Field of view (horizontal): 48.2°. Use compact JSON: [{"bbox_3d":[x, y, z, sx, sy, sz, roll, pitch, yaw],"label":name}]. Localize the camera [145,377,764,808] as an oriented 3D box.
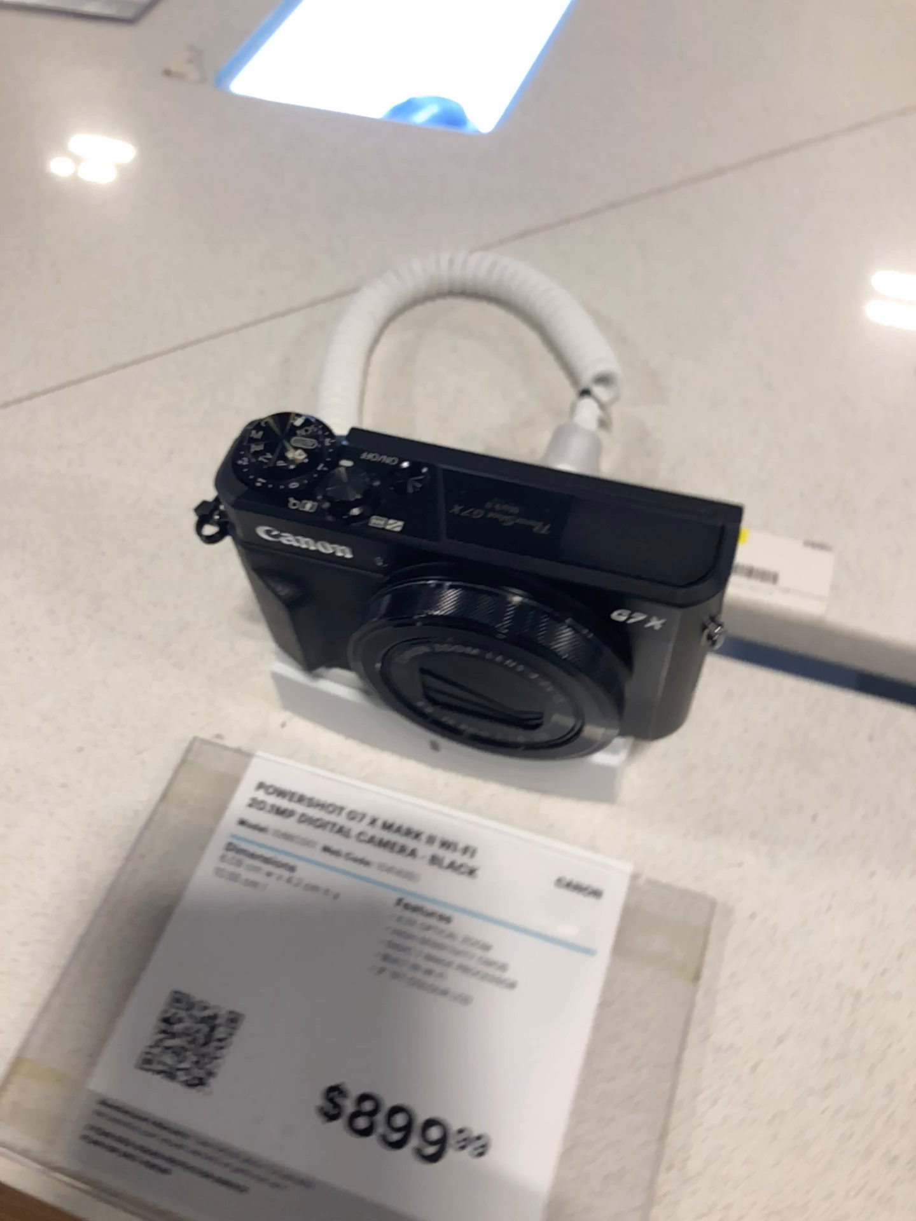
[{"bbox_3d":[0.000,-0.003,0.218,0.110,0.060,0.040,14,57,12],"label":"camera"}]
